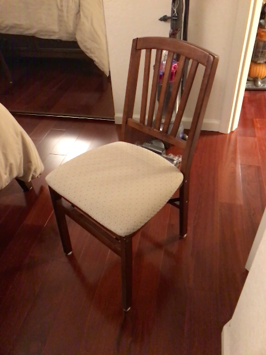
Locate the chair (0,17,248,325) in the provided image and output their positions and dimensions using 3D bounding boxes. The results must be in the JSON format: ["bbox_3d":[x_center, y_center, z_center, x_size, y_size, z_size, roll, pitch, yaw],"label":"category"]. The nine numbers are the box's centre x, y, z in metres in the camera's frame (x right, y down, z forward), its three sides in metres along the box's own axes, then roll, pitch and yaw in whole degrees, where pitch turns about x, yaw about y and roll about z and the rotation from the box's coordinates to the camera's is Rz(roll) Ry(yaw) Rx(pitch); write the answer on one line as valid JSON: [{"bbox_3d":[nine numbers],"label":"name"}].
[{"bbox_3d":[-0.020,-0.023,1.113,0.501,0.923,0.563,29,49,33],"label":"chair"}]
